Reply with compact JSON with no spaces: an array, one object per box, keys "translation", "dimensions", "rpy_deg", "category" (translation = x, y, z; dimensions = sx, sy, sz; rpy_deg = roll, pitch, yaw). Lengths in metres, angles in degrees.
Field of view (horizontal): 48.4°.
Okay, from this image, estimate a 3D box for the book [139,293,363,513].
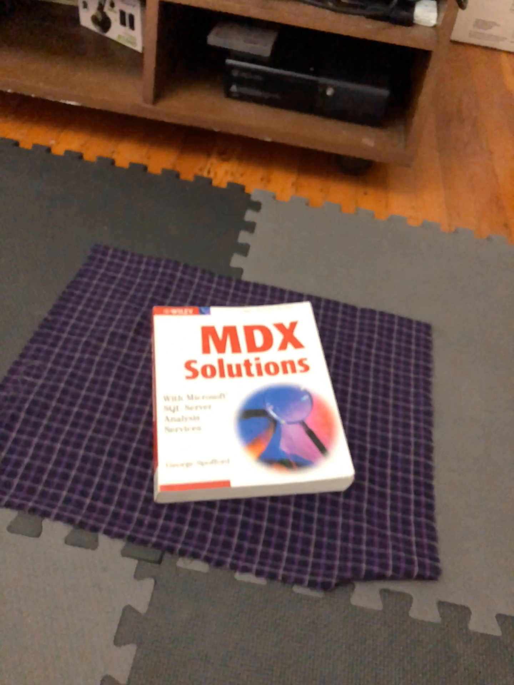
[{"translation":[-0.022,0.054,0.661],"dimensions":[0.220,0.050,0.261],"rpy_deg":[-2,49,-10],"category":"book"}]
